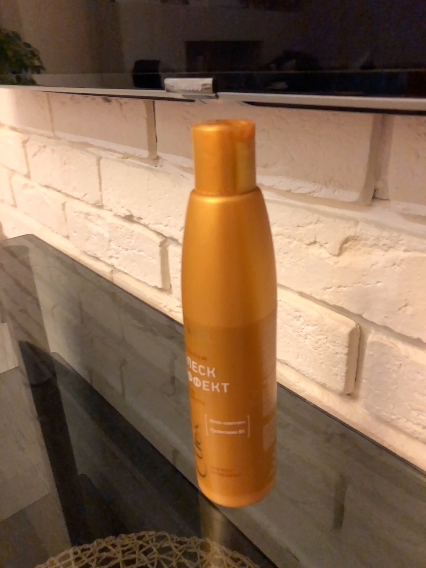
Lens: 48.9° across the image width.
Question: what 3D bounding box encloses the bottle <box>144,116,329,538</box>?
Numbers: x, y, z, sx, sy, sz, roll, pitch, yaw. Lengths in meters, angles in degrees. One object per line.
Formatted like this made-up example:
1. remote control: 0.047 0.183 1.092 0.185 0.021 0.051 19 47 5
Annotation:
1. bottle: 0.013 0.024 0.237 0.050 0.199 0.060 21 33 41
